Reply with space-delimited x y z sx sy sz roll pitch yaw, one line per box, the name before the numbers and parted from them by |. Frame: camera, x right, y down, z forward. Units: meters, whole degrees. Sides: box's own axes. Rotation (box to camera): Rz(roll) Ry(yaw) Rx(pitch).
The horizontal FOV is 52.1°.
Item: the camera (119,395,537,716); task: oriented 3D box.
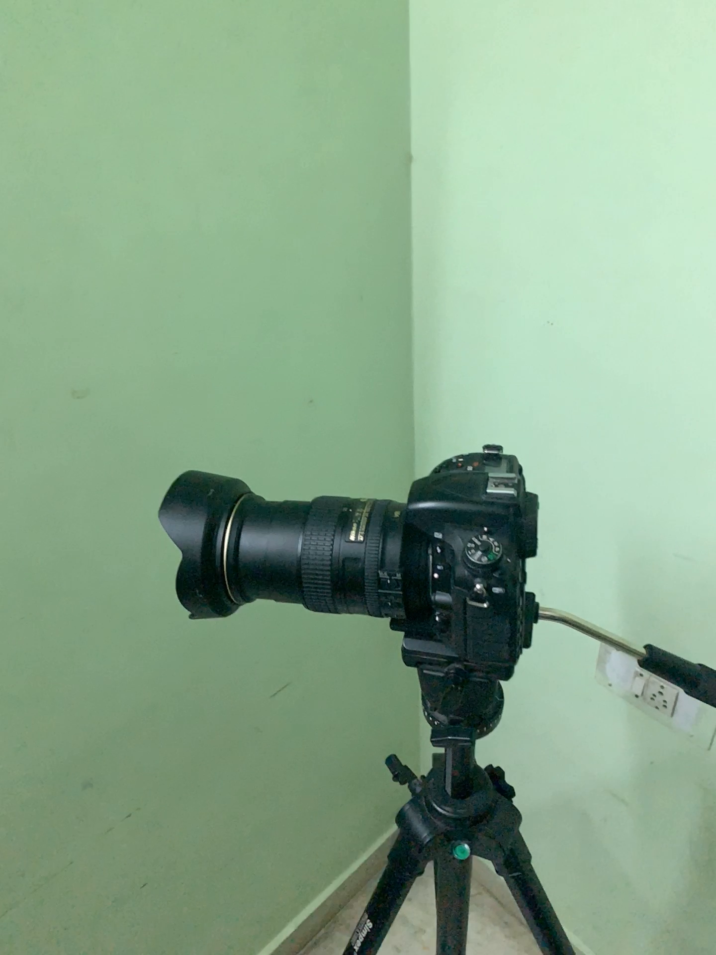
camera | -0.006 0.045 0.532 0.250 0.131 0.164 5 36 12
